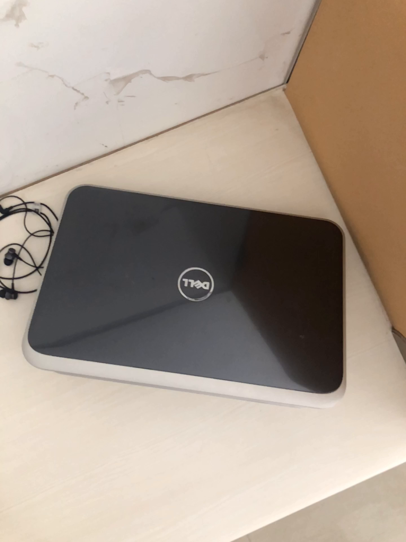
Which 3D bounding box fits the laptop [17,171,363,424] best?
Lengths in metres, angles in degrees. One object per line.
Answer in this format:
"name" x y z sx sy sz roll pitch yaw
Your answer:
"laptop" -0.009 0.030 0.554 0.357 0.094 0.238 8 82 0
